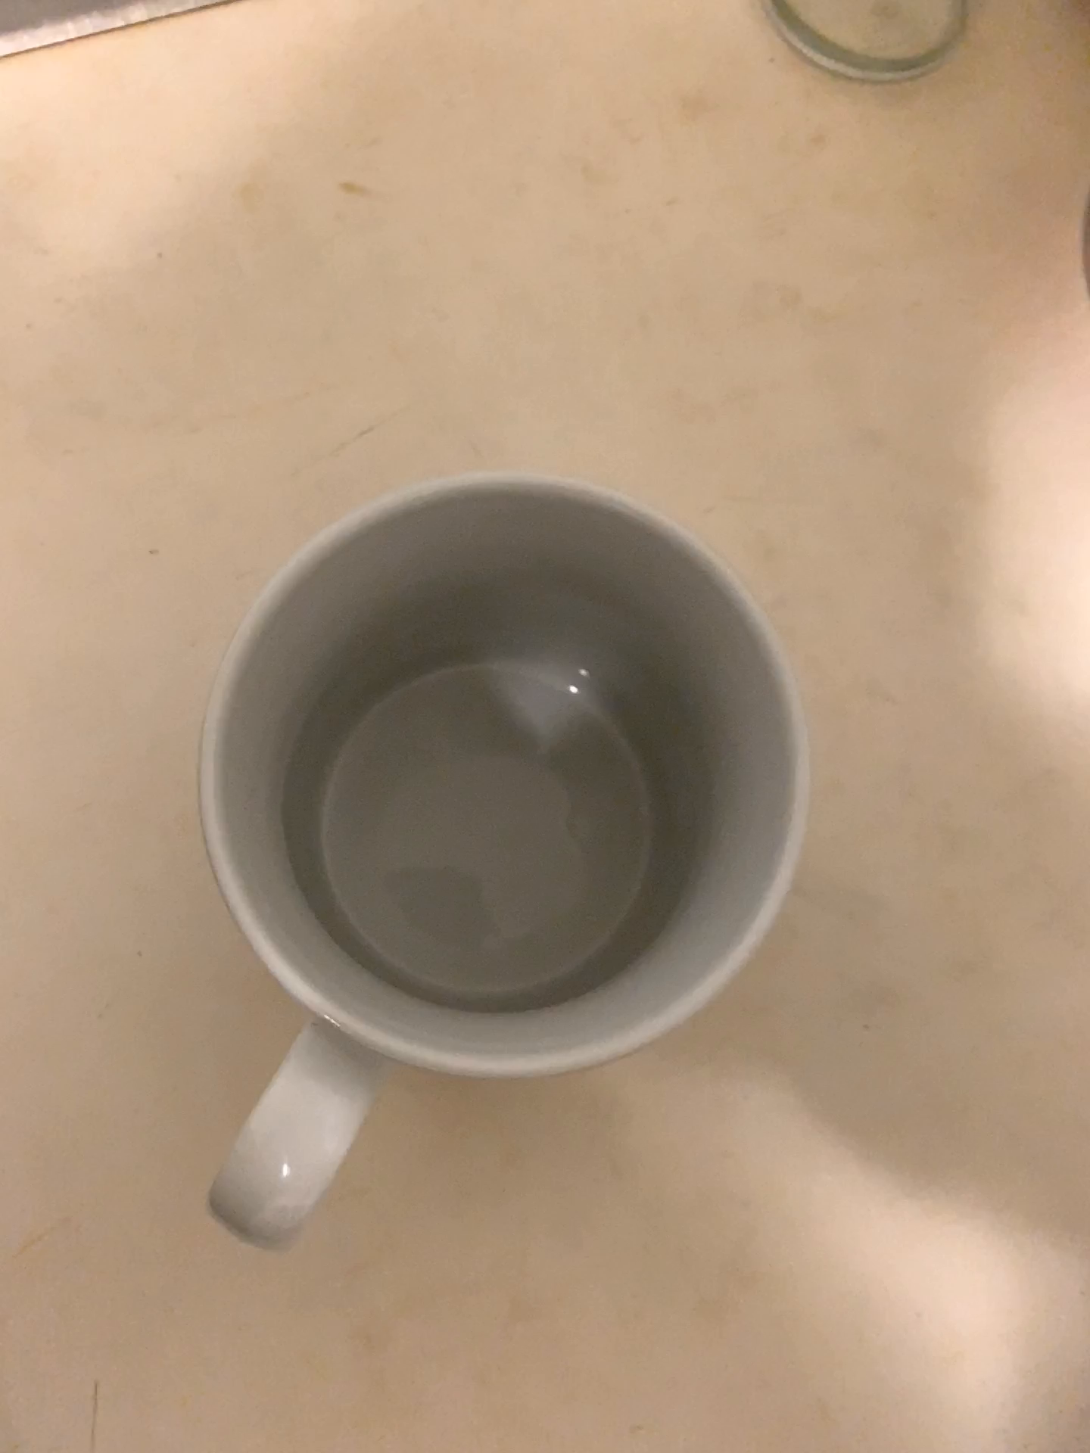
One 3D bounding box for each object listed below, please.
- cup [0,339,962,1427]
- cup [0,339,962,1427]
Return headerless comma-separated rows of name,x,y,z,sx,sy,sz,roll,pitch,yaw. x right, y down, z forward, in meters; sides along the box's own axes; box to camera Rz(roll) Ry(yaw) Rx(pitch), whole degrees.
cup,-0.012,0.027,0.224,0.100,0.110,0.130,27,79,0
cup,-0.012,0.027,0.224,0.100,0.110,0.130,27,79,0
